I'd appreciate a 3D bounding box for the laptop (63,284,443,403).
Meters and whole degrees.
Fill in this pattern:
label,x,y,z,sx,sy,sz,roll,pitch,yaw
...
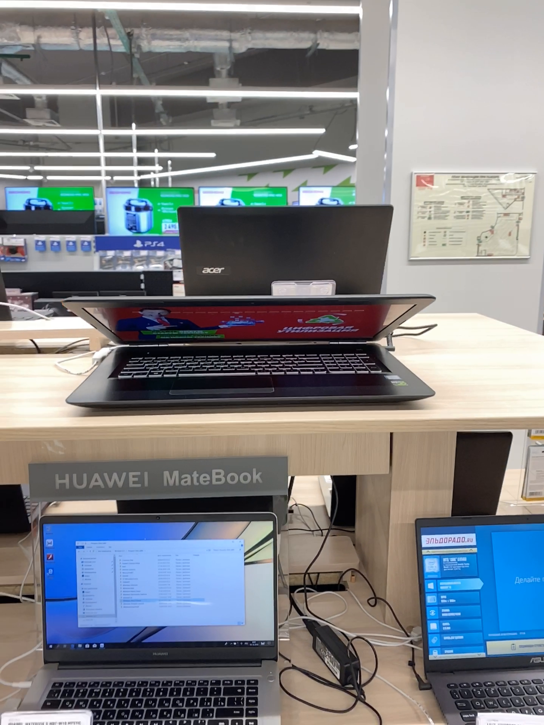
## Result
label,x,y,z,sx,sy,sz,roll,pitch,yaw
laptop,-0.026,-0.039,0.745,0.413,0.095,0.269,-1,14,-3
